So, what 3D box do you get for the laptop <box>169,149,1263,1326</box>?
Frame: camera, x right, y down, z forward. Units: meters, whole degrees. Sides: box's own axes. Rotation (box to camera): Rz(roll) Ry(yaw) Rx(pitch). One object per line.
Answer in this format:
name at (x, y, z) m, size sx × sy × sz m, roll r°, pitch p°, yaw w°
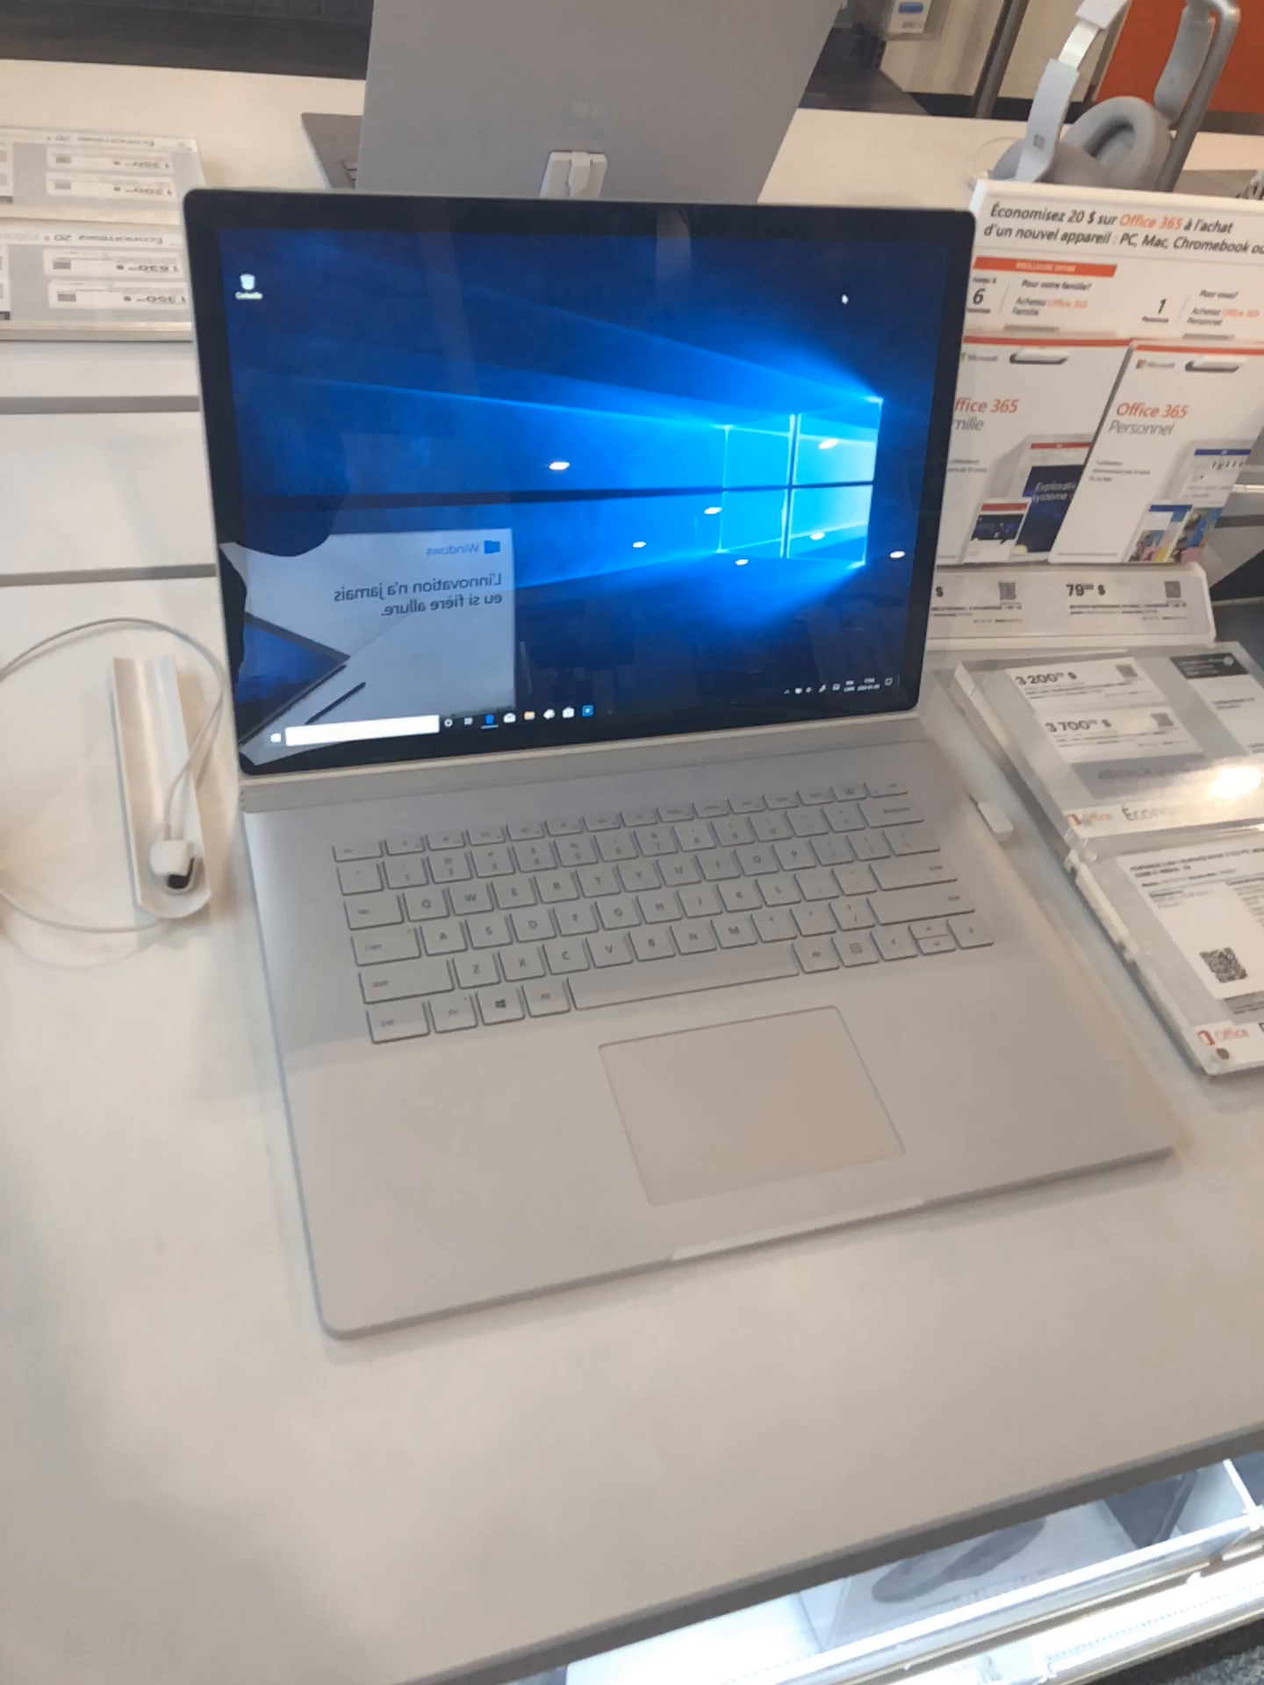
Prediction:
laptop at (0.023, -0.068, 0.542) m, size 0.338 × 0.207 × 0.365 m, roll -7°, pitch 51°, yaw -19°
